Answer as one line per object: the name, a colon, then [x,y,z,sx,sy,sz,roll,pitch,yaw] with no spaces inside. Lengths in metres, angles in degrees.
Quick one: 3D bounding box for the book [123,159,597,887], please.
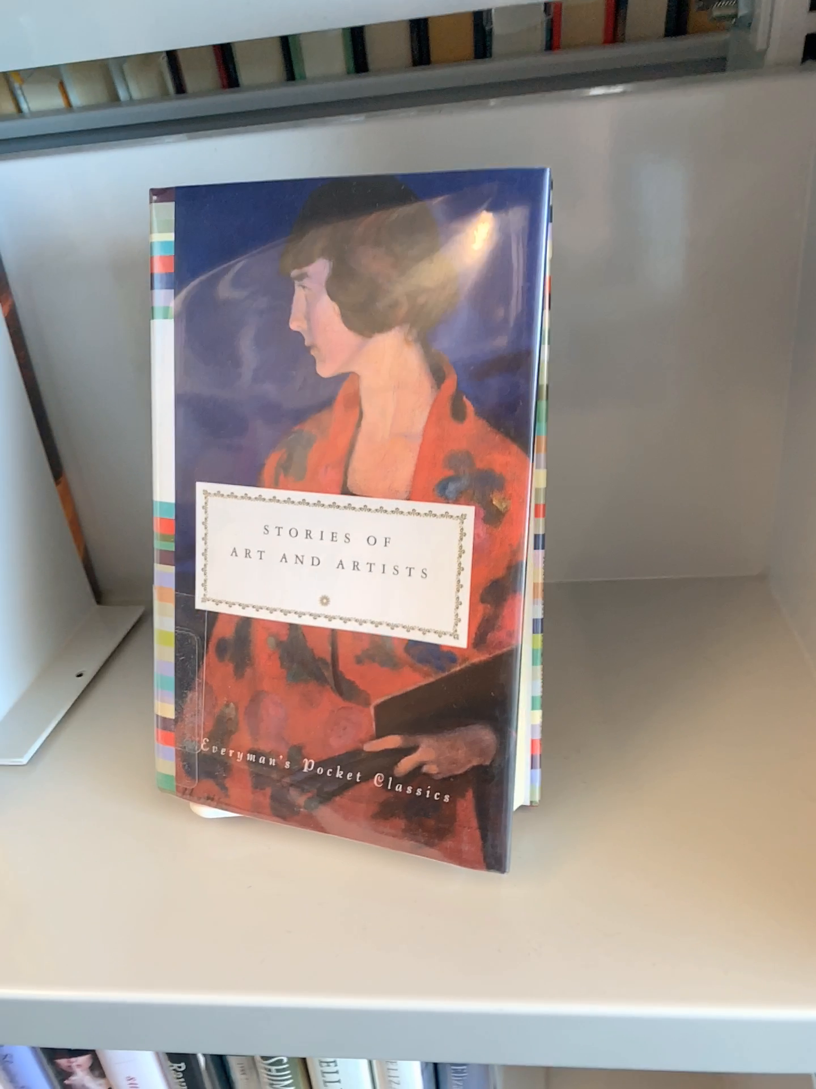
book: [-0.019,-0.009,0.255,0.129,0.187,0.040,7,11,21]
